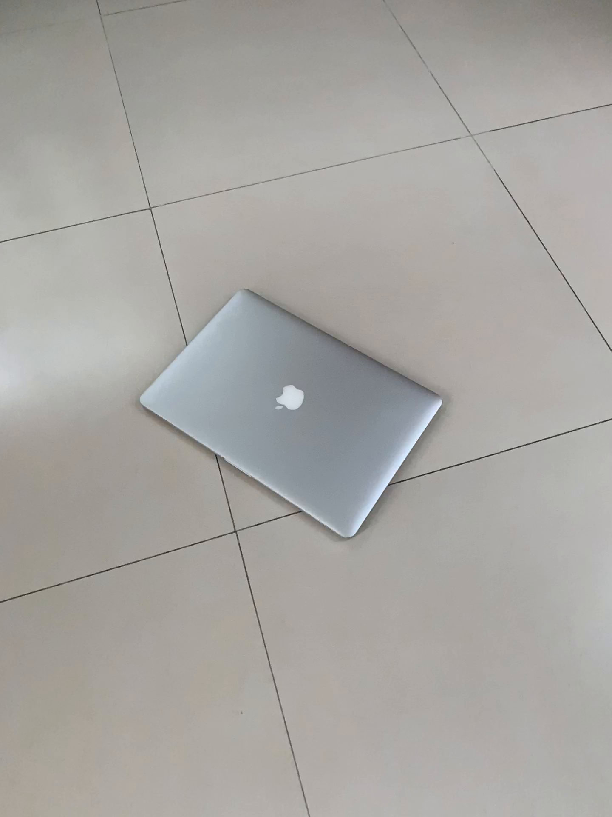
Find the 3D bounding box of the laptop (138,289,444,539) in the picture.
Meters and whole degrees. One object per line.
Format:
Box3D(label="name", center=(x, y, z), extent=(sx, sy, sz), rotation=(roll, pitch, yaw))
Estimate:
Box3D(label="laptop", center=(-0.023, -0.012, 0.876), extent=(0.356, 0.001, 0.239), rotation=(30, 66, 17))
